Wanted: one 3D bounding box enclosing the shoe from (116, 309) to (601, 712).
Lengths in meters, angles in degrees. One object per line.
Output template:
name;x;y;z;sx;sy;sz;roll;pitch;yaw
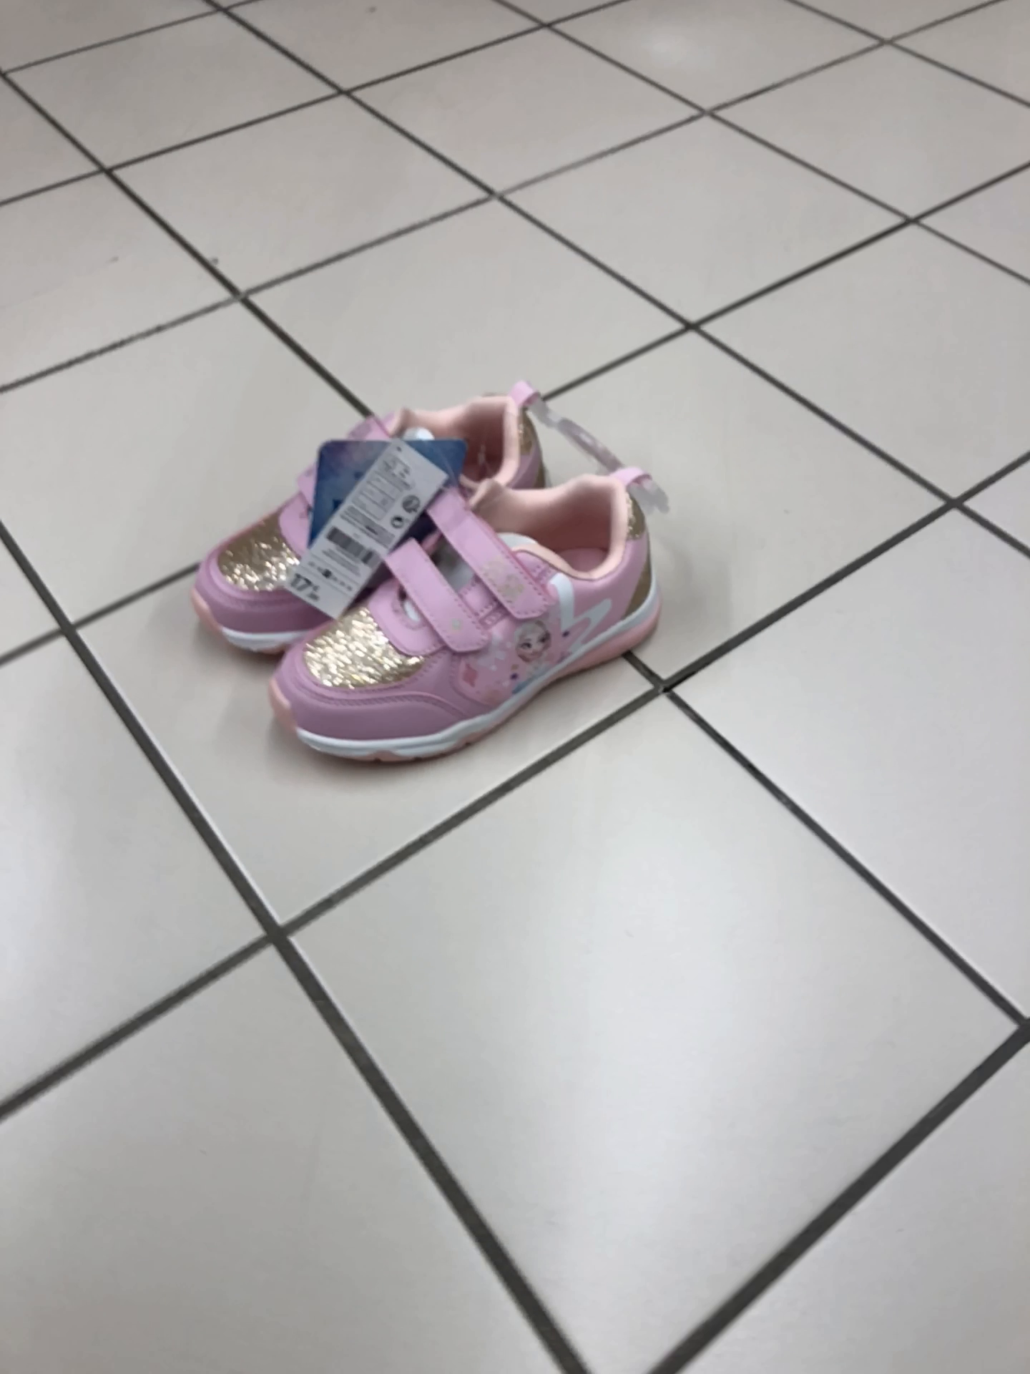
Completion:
shoe;-0.065;-0.086;0.530;0.195;0.087;0.083;-28;56;-20

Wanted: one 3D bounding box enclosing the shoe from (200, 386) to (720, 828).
shoe;-0.019;-0.039;0.492;0.195;0.087;0.083;-28;56;-20
